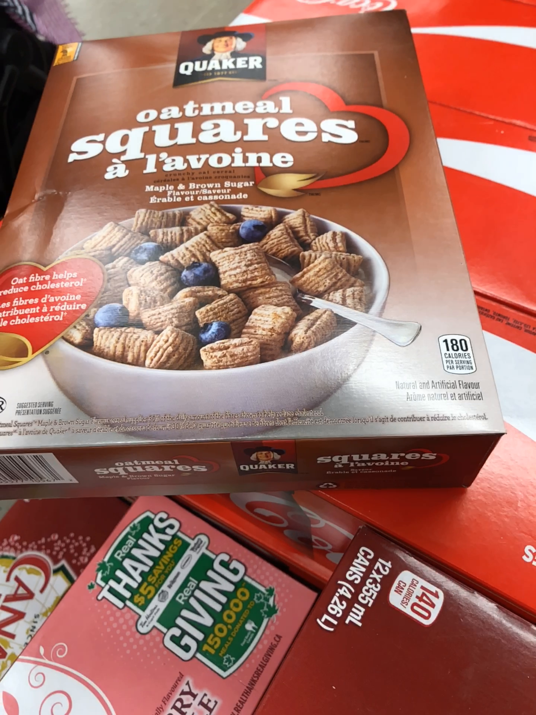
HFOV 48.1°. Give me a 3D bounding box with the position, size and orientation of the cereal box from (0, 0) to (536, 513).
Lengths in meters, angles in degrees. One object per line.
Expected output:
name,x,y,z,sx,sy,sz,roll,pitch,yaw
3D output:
cereal box,-0.024,-0.081,0.284,0.240,0.050,0.290,-3,58,4
